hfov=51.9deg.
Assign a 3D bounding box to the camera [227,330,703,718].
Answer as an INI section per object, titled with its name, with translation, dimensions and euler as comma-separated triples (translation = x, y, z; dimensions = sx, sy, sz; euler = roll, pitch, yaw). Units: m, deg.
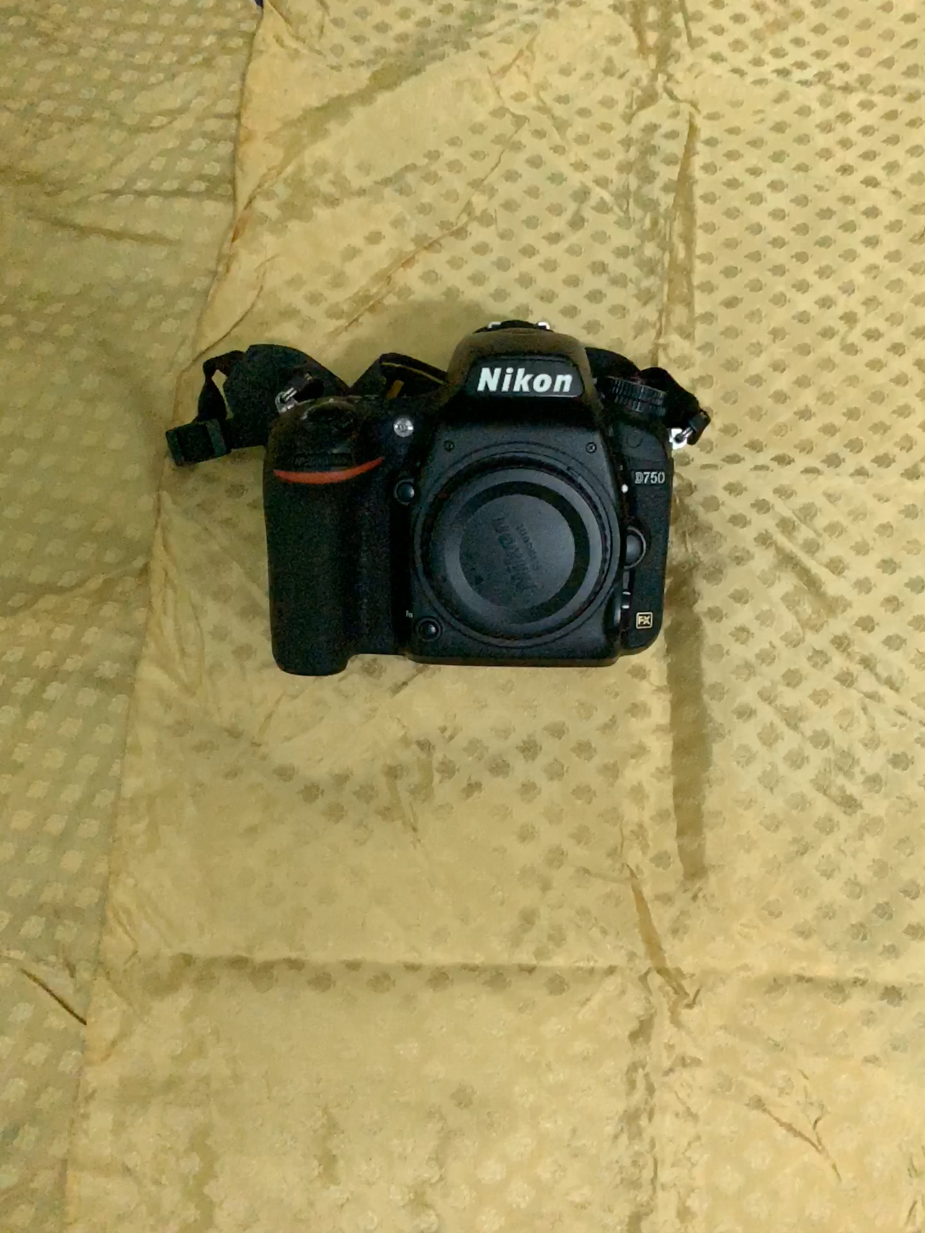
[camera]
translation = 0.000, -0.033, 0.310
dimensions = 0.130, 0.073, 0.110
euler = 1, 105, 0
